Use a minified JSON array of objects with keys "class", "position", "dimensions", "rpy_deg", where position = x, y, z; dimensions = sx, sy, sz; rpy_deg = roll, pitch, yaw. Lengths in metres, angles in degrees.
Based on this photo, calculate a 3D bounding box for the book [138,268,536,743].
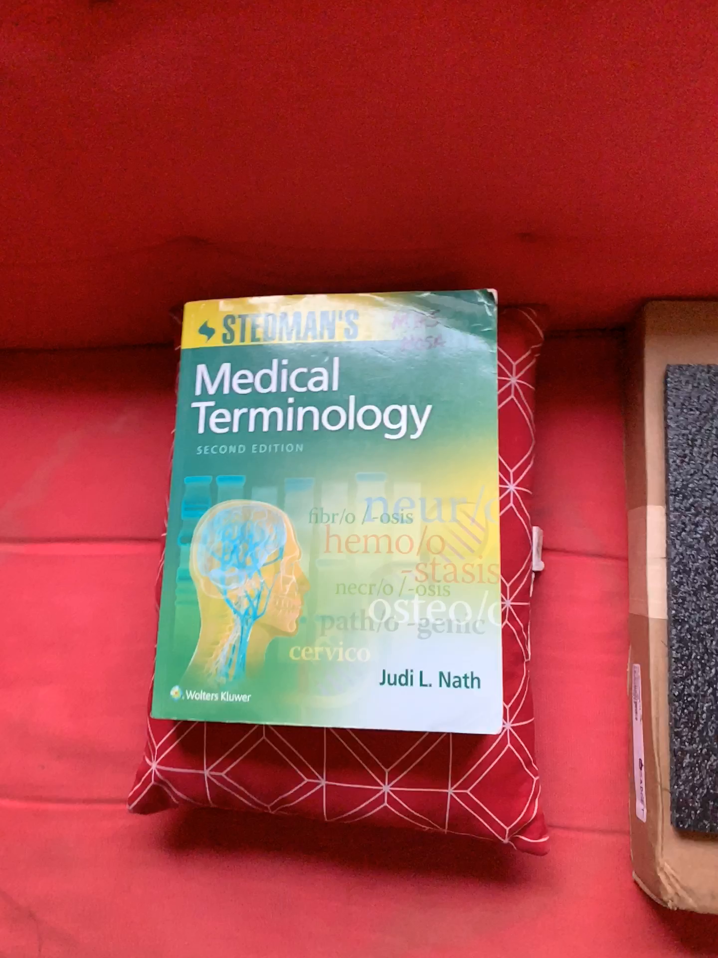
[{"class":"book","position":[-0.010,0.010,0.491],"dimensions":[0.240,0.040,0.300],"rpy_deg":[0,78,6]}]
